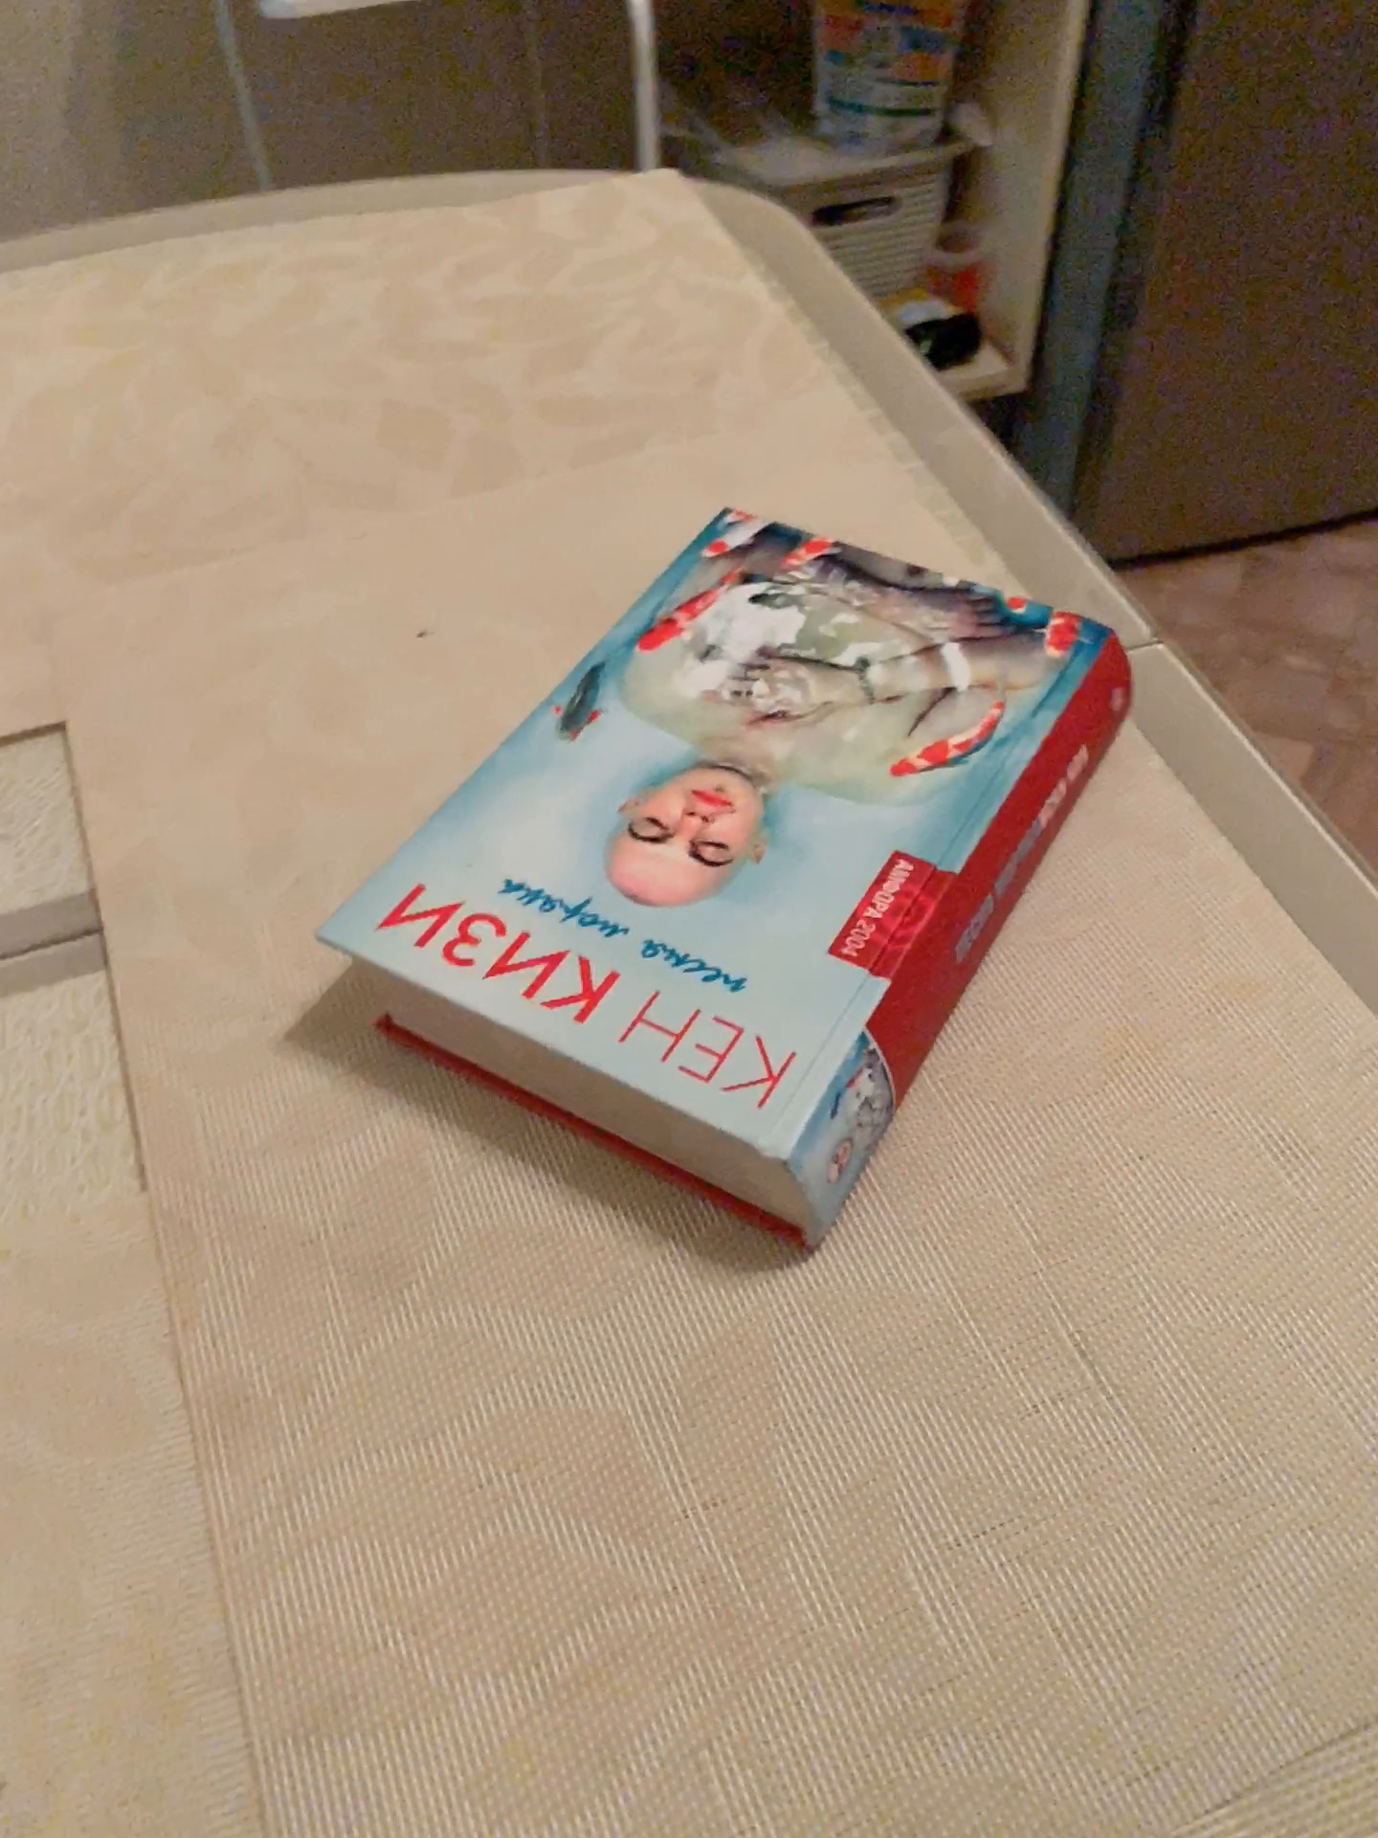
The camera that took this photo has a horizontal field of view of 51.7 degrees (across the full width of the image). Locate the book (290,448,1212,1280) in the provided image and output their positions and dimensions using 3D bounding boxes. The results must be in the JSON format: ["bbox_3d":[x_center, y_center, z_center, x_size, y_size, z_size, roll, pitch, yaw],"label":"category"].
[{"bbox_3d":[0.026,-0.034,0.374,0.150,0.040,0.211,23,55,20],"label":"book"}]
